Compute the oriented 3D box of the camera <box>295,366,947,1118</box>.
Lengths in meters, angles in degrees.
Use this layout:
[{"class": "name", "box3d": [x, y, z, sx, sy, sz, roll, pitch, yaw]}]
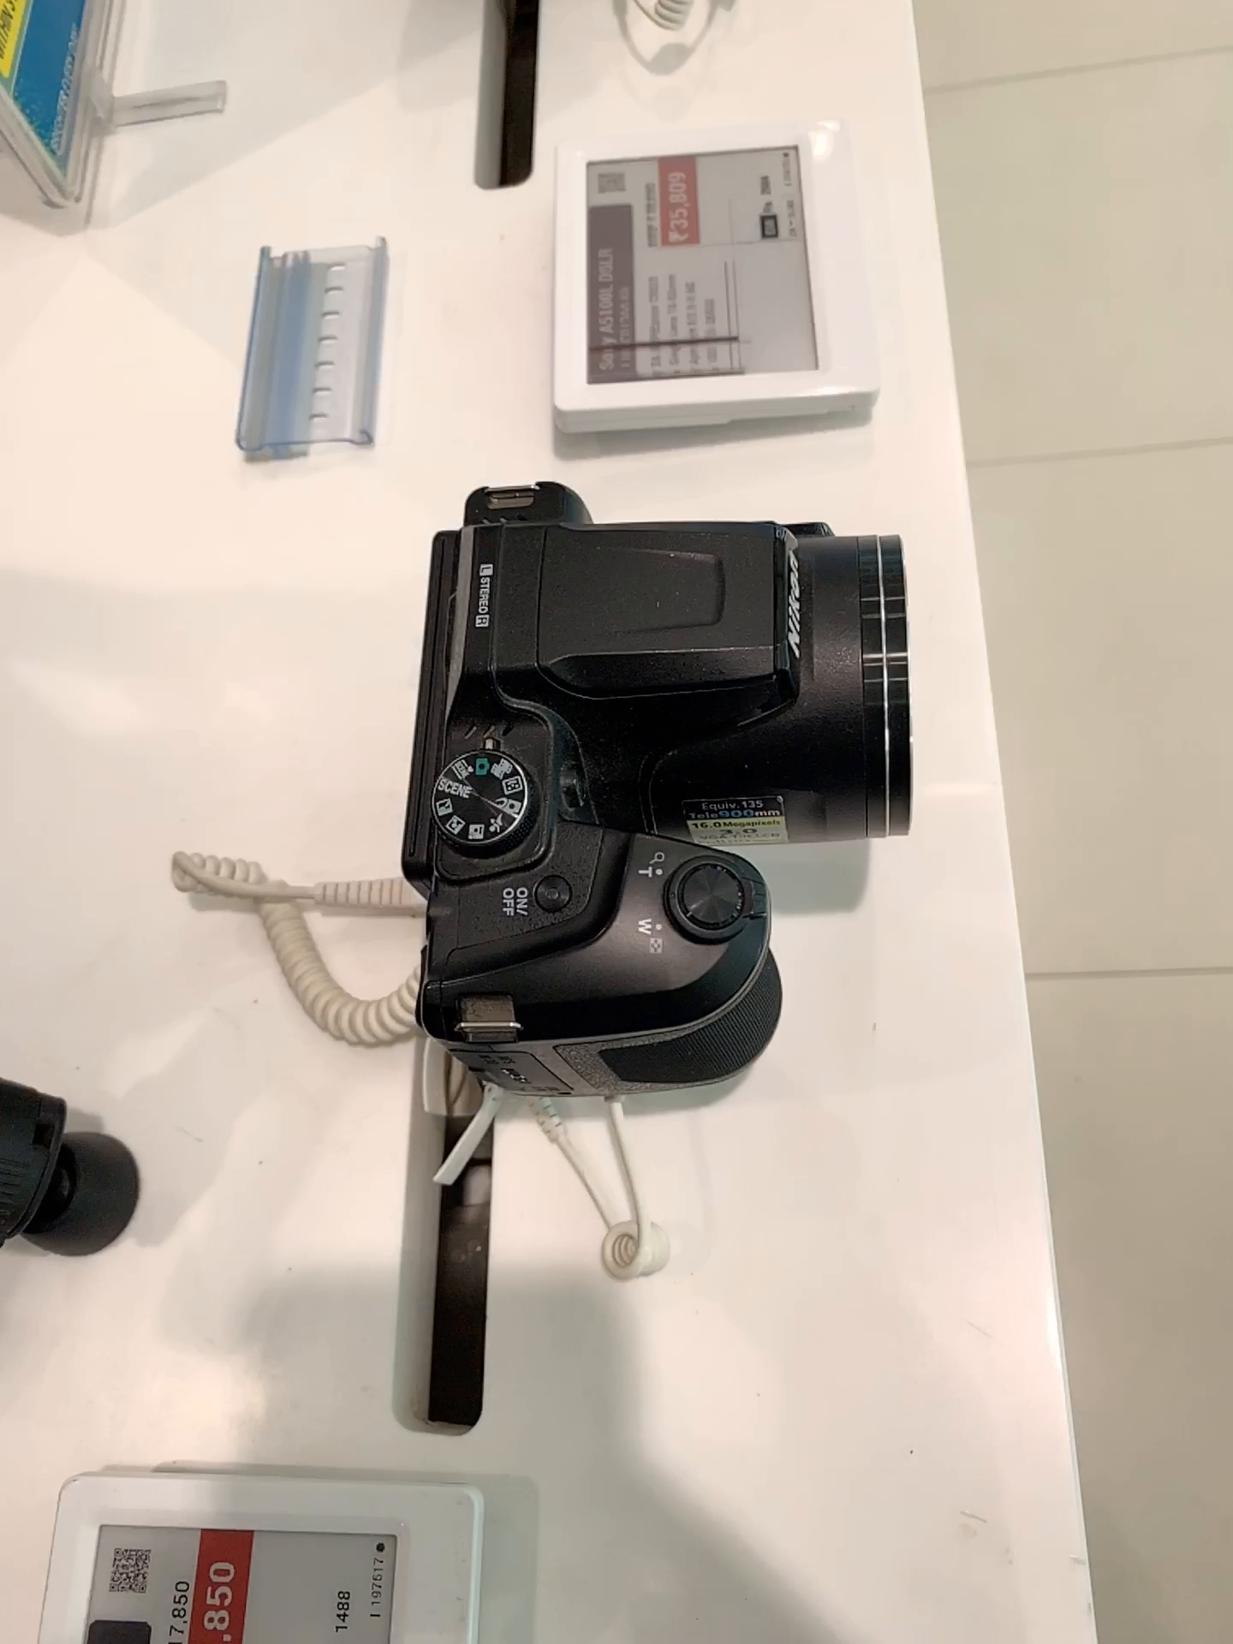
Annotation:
[{"class": "camera", "box3d": [0.007, -0.009, 0.252, 0.100, 0.080, 0.120, -3, 67, 10]}]
